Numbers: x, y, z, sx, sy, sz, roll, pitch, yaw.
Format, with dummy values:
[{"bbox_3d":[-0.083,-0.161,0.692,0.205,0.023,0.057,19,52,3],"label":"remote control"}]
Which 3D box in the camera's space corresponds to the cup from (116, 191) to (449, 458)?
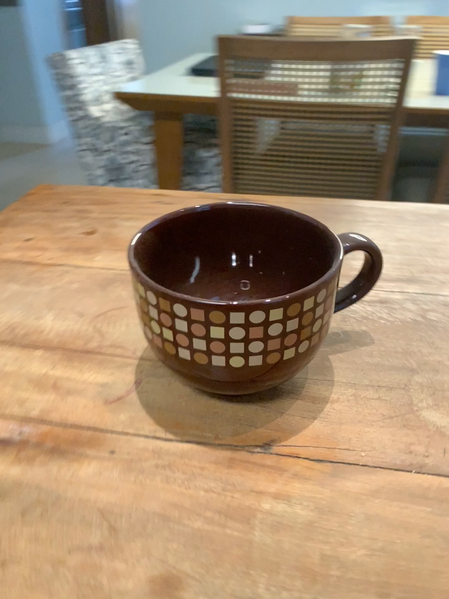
[{"bbox_3d":[0.030,0.002,0.322,0.180,0.089,0.141,-10,35,-15],"label":"cup"}]
